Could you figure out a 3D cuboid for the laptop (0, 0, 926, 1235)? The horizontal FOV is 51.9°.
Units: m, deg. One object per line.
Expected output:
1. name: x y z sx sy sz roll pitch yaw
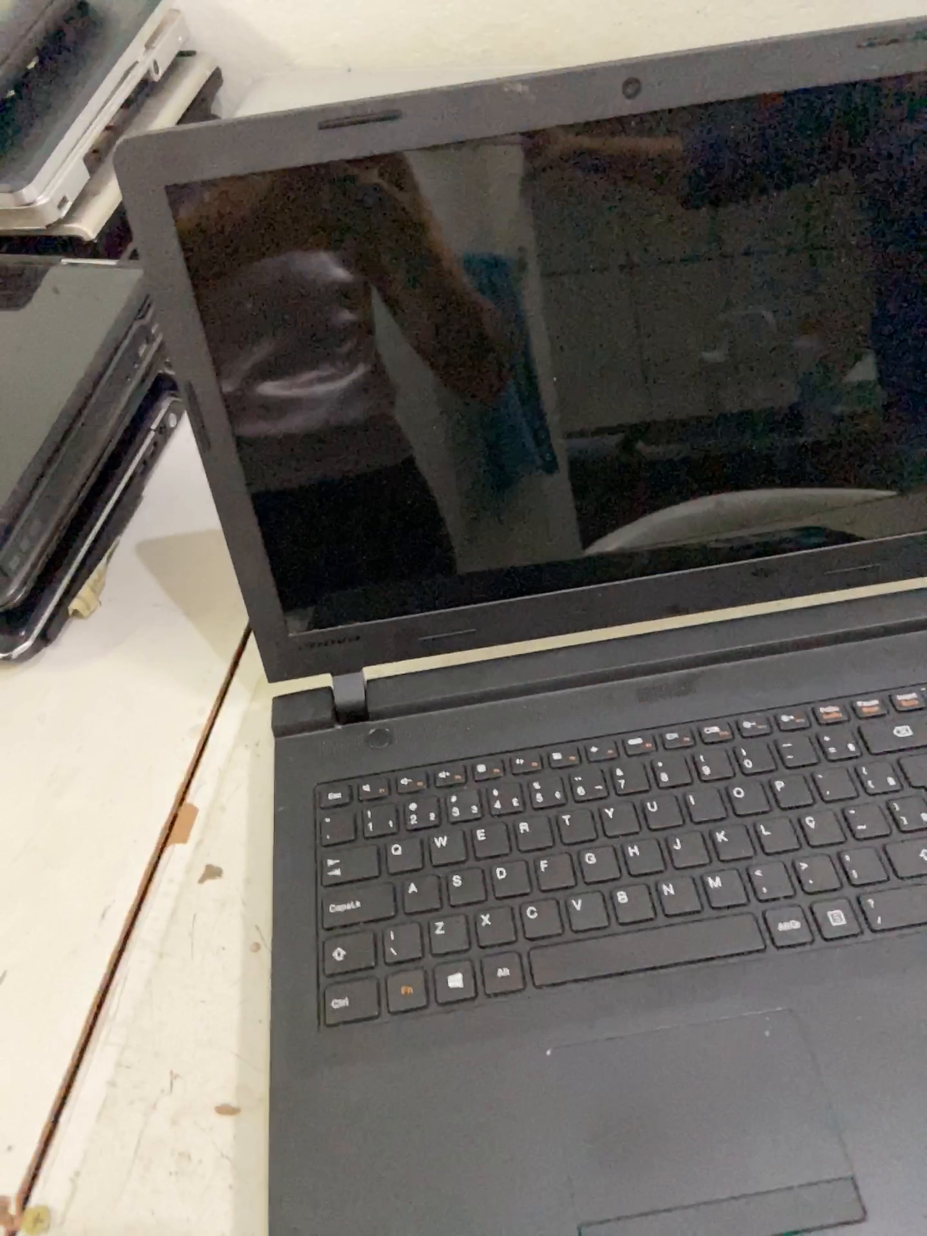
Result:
1. laptop: 0.095 0.001 0.322 0.375 0.230 0.339 -9 49 -1
